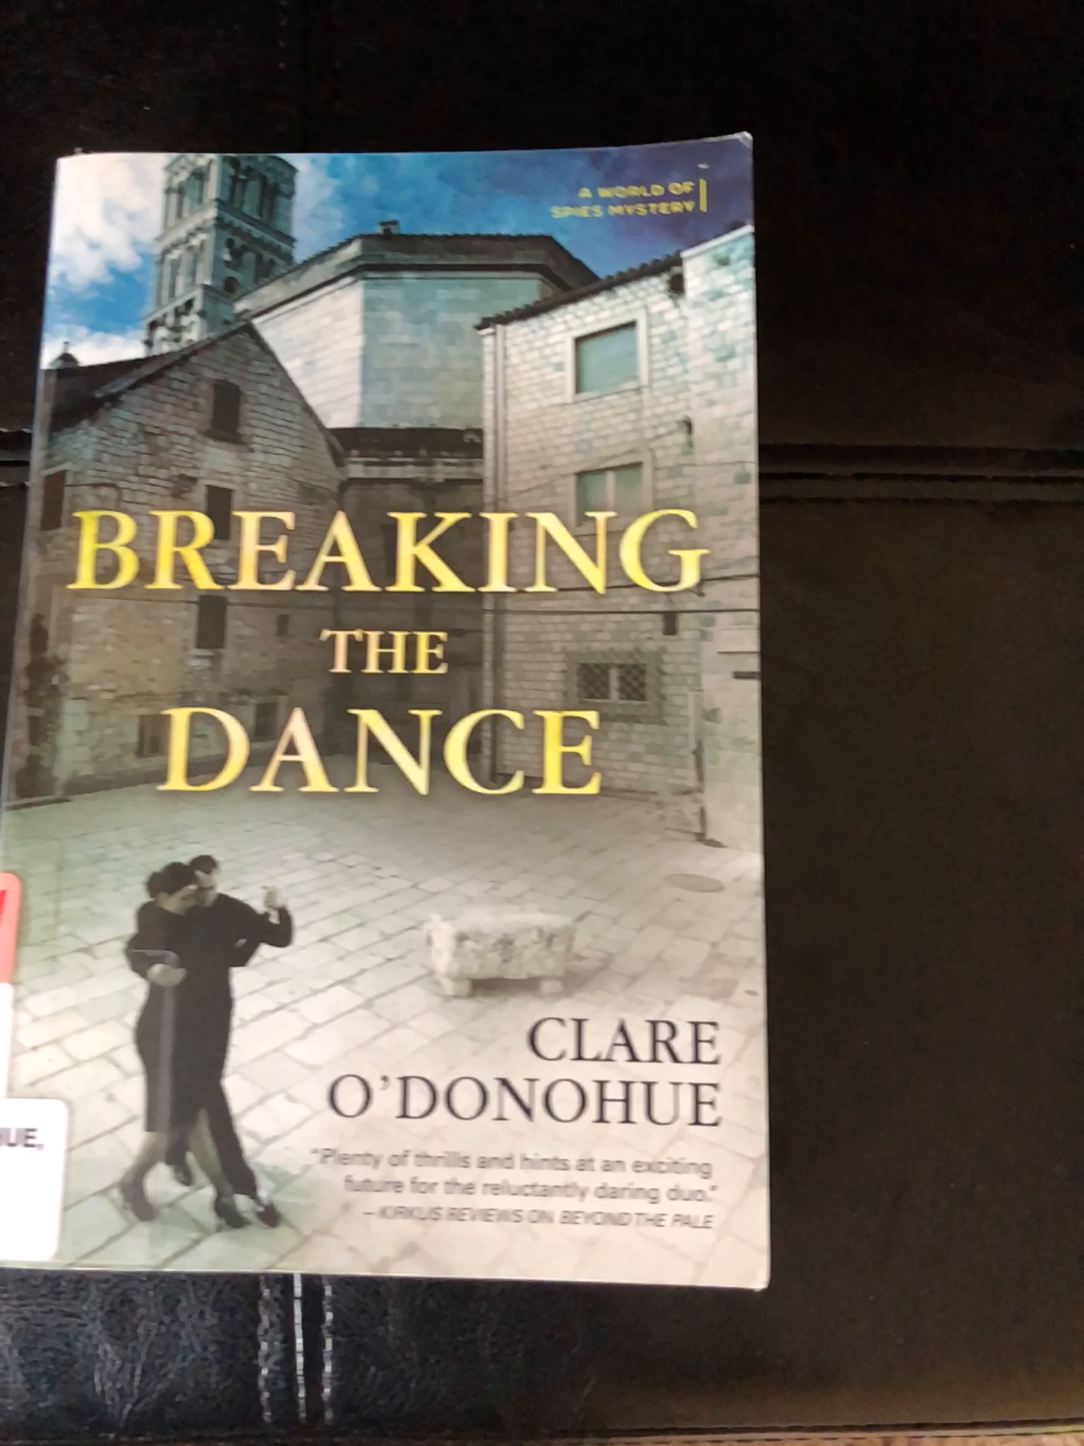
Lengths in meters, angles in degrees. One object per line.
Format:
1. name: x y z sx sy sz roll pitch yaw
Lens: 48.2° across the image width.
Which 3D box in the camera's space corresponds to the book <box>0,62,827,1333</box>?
1. book: -0.024 -0.007 0.222 0.140 0.040 0.210 2 82 -4
